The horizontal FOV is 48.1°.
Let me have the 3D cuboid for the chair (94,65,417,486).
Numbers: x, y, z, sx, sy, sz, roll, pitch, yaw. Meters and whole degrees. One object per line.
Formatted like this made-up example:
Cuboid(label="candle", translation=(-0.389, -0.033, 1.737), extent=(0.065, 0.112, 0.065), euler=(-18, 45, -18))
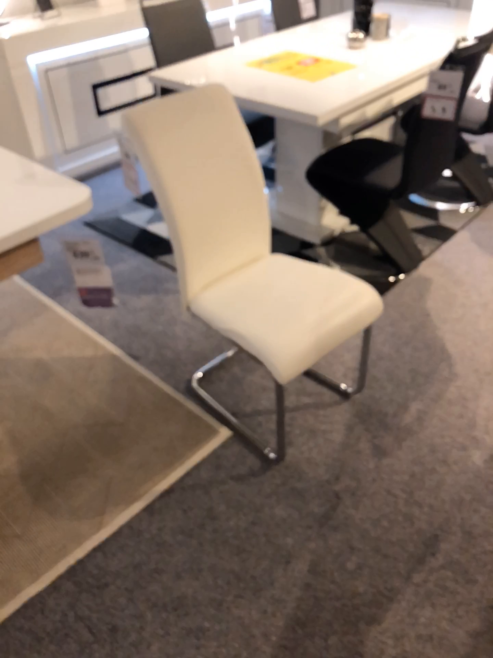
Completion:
Cuboid(label="chair", translation=(0.037, -0.152, 1.560), extent=(0.550, 0.925, 0.503), euler=(29, 49, 34))
